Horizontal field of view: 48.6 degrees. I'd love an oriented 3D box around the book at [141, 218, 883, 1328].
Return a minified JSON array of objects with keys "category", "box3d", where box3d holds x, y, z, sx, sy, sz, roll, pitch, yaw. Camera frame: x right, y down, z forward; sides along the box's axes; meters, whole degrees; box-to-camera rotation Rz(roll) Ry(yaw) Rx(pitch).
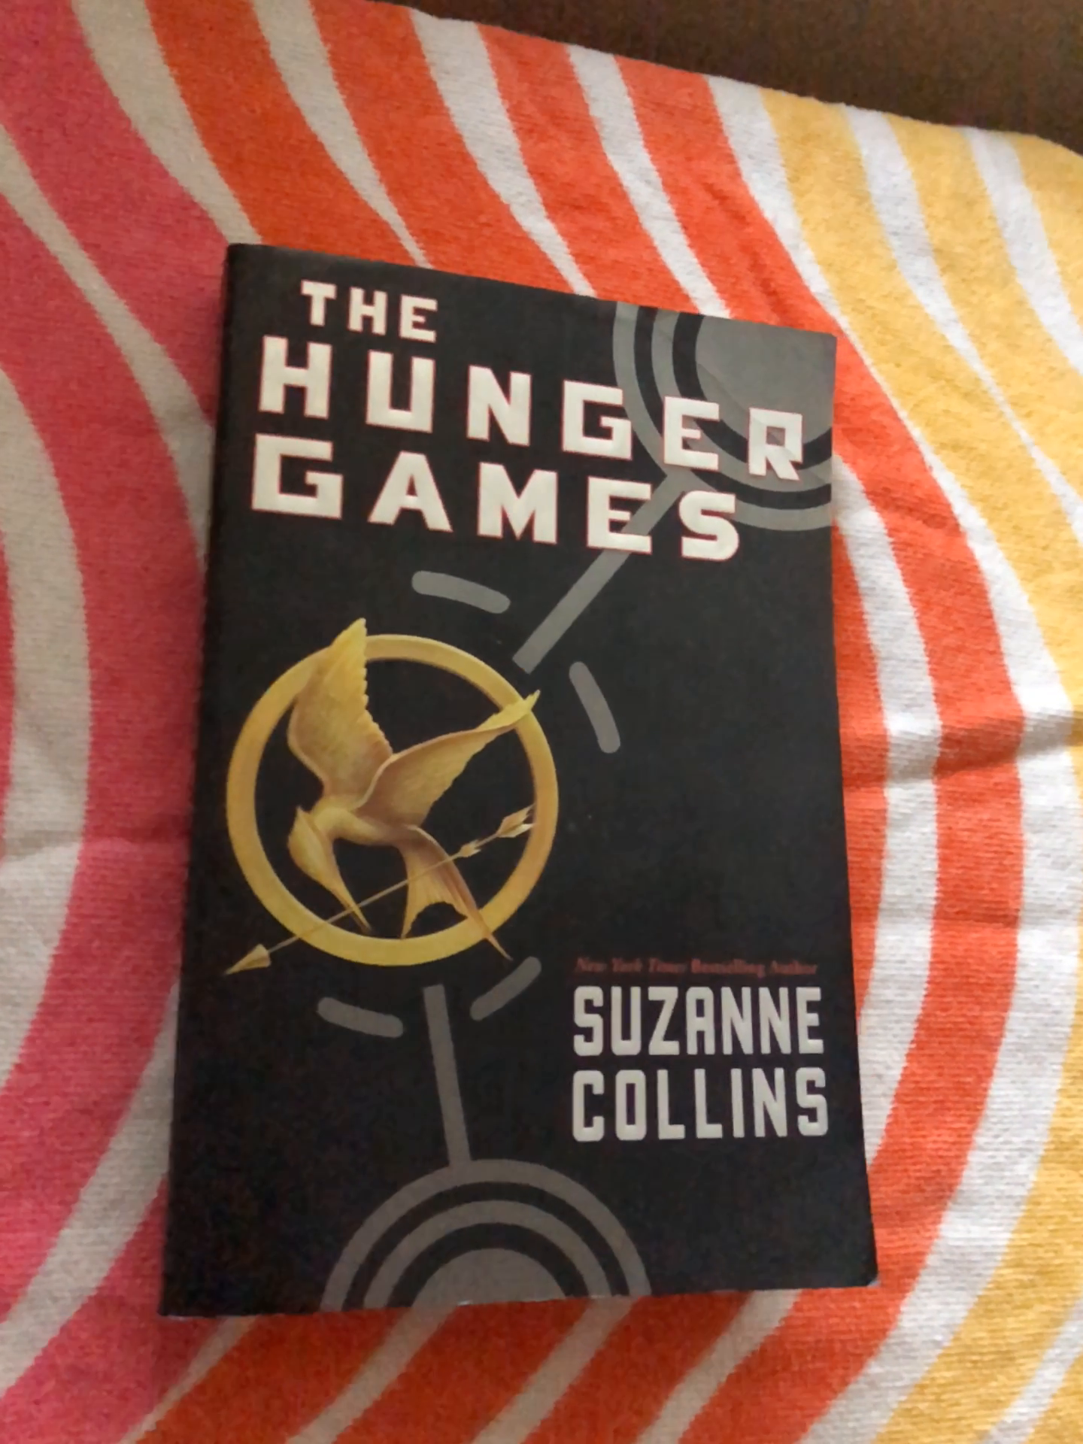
[{"category":"book","box3d":[-0.002,0.009,0.250,0.138,0.037,0.200,4,80,-15]}]
